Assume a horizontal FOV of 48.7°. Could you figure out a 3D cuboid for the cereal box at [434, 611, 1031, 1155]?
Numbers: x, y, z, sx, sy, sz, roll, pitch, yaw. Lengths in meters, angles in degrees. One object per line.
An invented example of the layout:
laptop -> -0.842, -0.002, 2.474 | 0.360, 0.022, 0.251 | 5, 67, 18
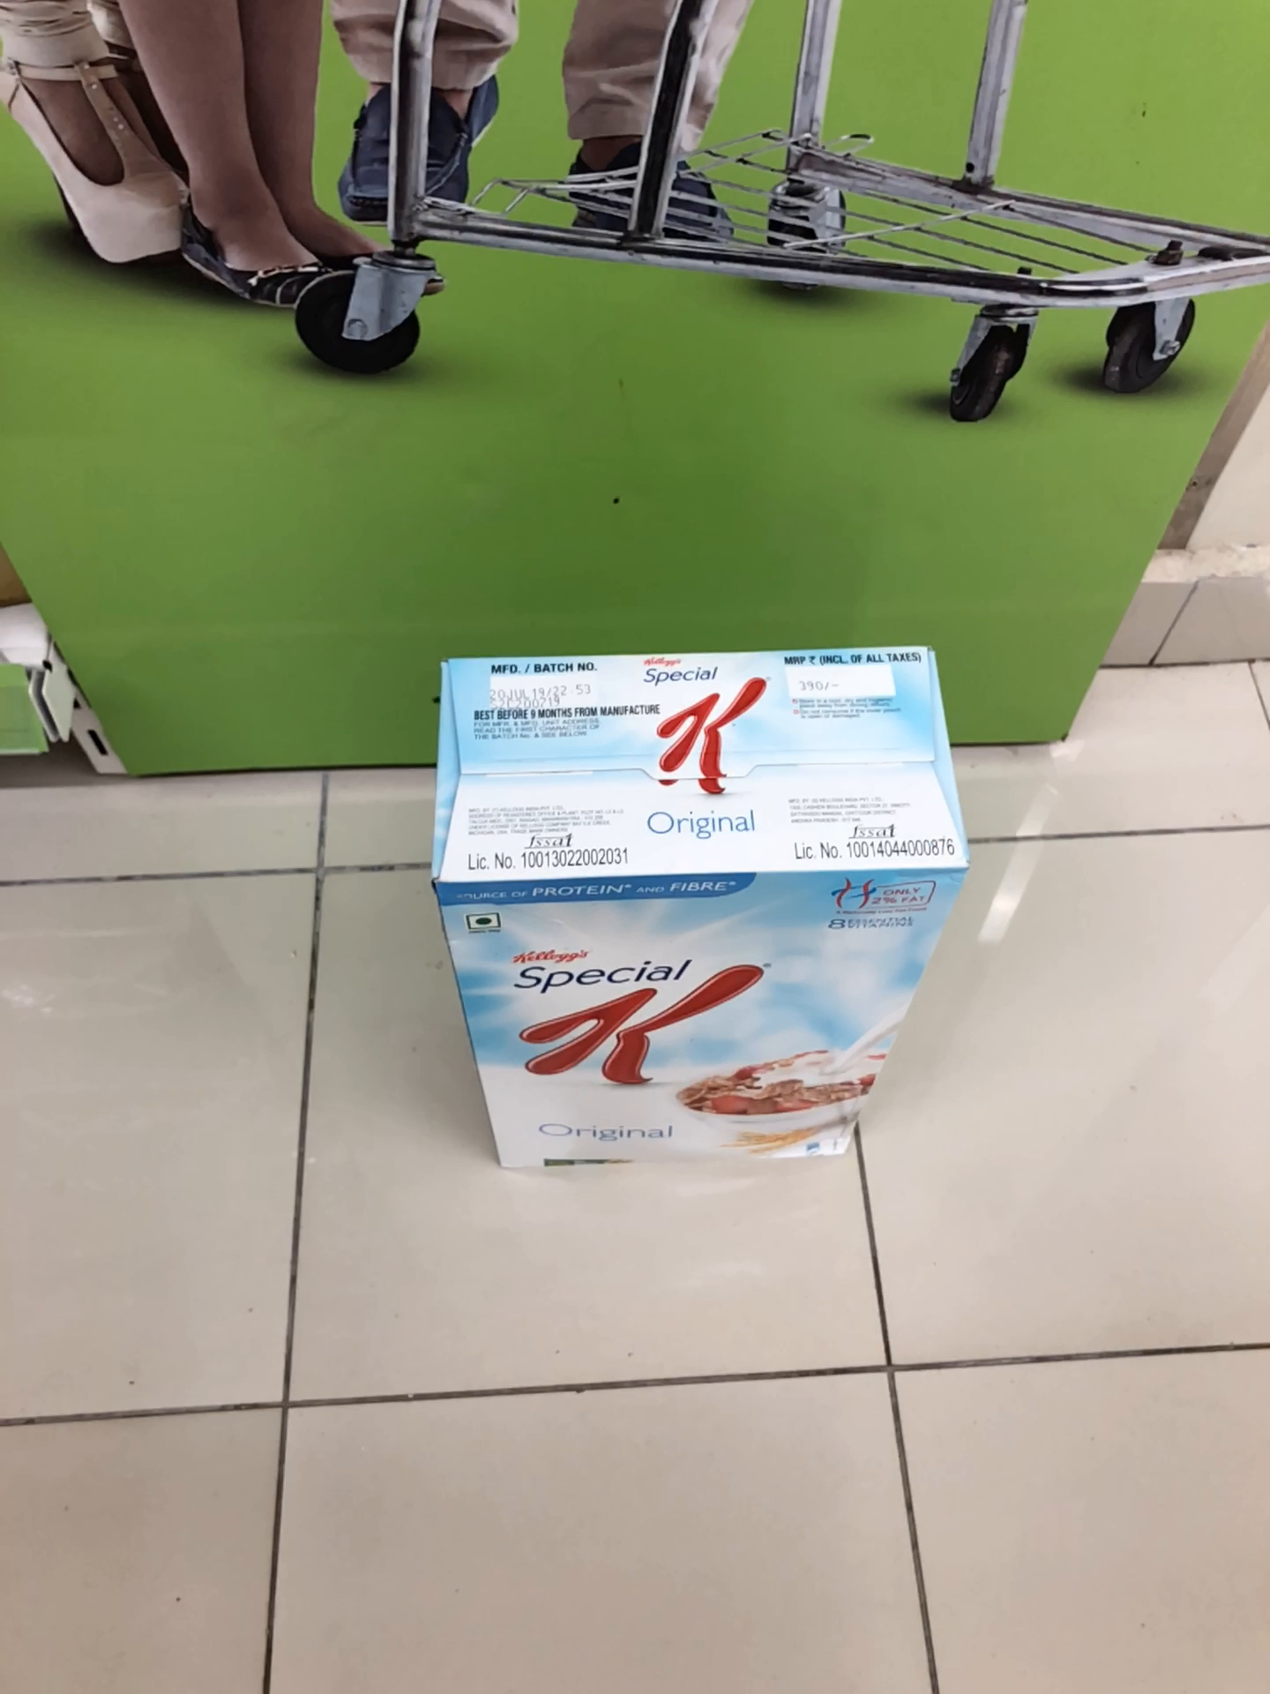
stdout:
cereal box -> 0.028, 0.036, 0.627 | 0.200, 0.309, 0.100 | -2, 60, -3
